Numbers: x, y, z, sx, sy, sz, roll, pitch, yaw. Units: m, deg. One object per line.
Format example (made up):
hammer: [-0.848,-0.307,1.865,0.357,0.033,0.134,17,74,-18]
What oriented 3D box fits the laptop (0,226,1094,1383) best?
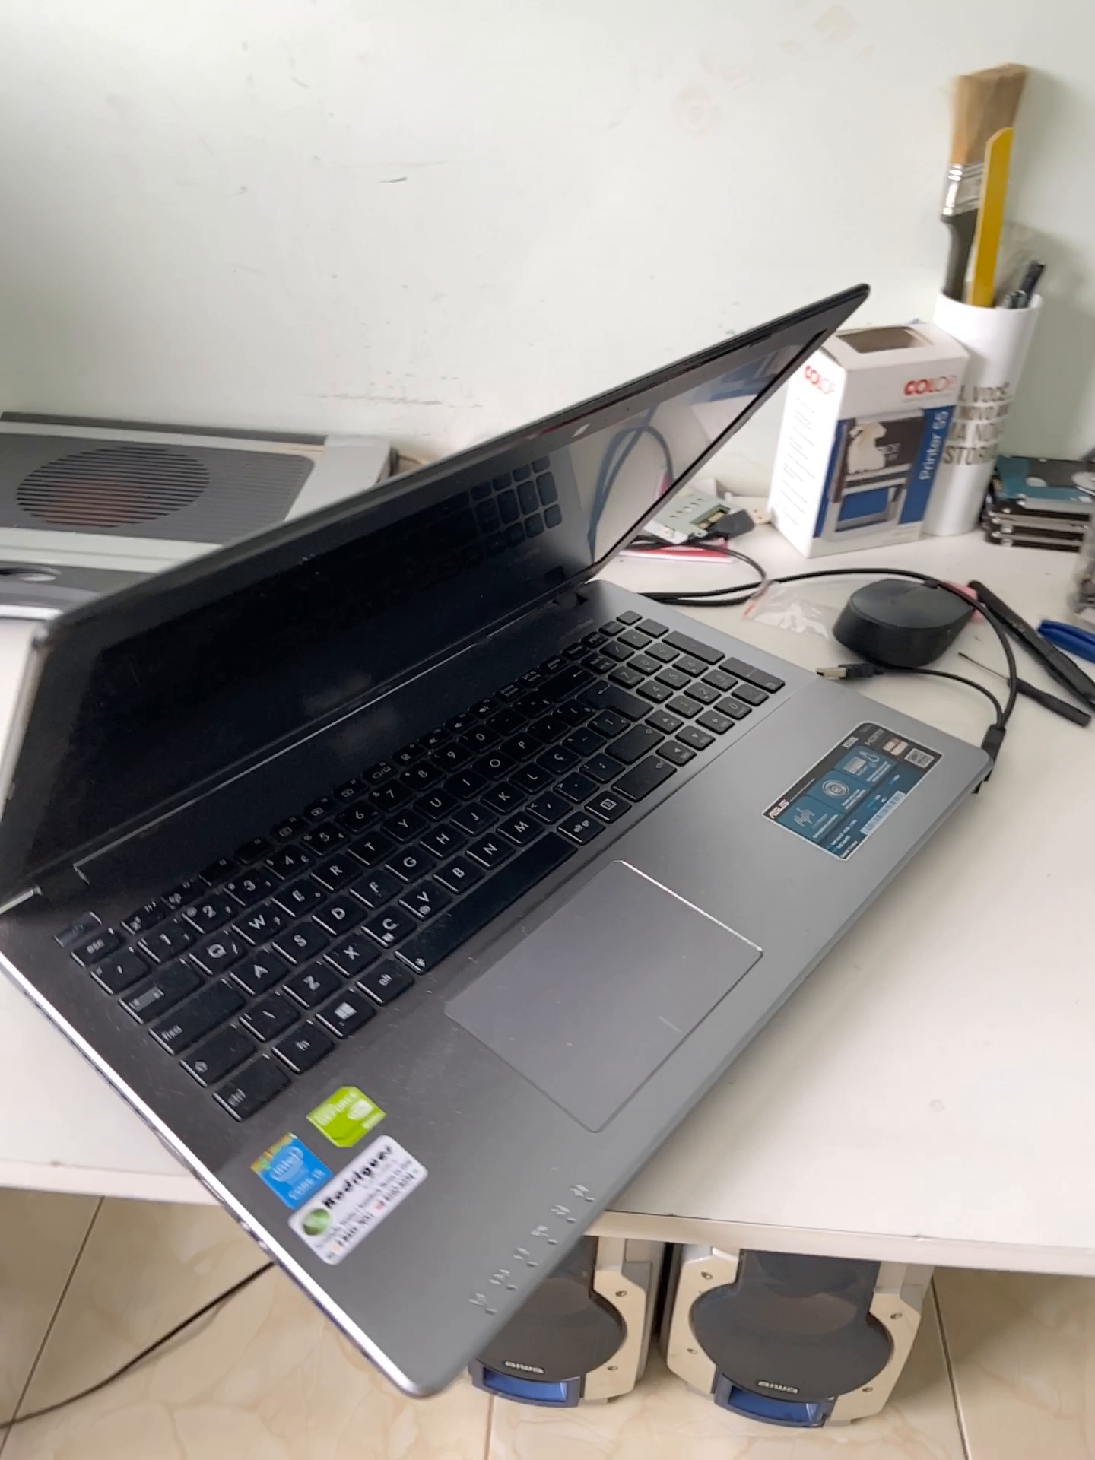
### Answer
laptop: [-0.004,-0.033,0.423,0.245,0.190,0.366,29,45,31]
